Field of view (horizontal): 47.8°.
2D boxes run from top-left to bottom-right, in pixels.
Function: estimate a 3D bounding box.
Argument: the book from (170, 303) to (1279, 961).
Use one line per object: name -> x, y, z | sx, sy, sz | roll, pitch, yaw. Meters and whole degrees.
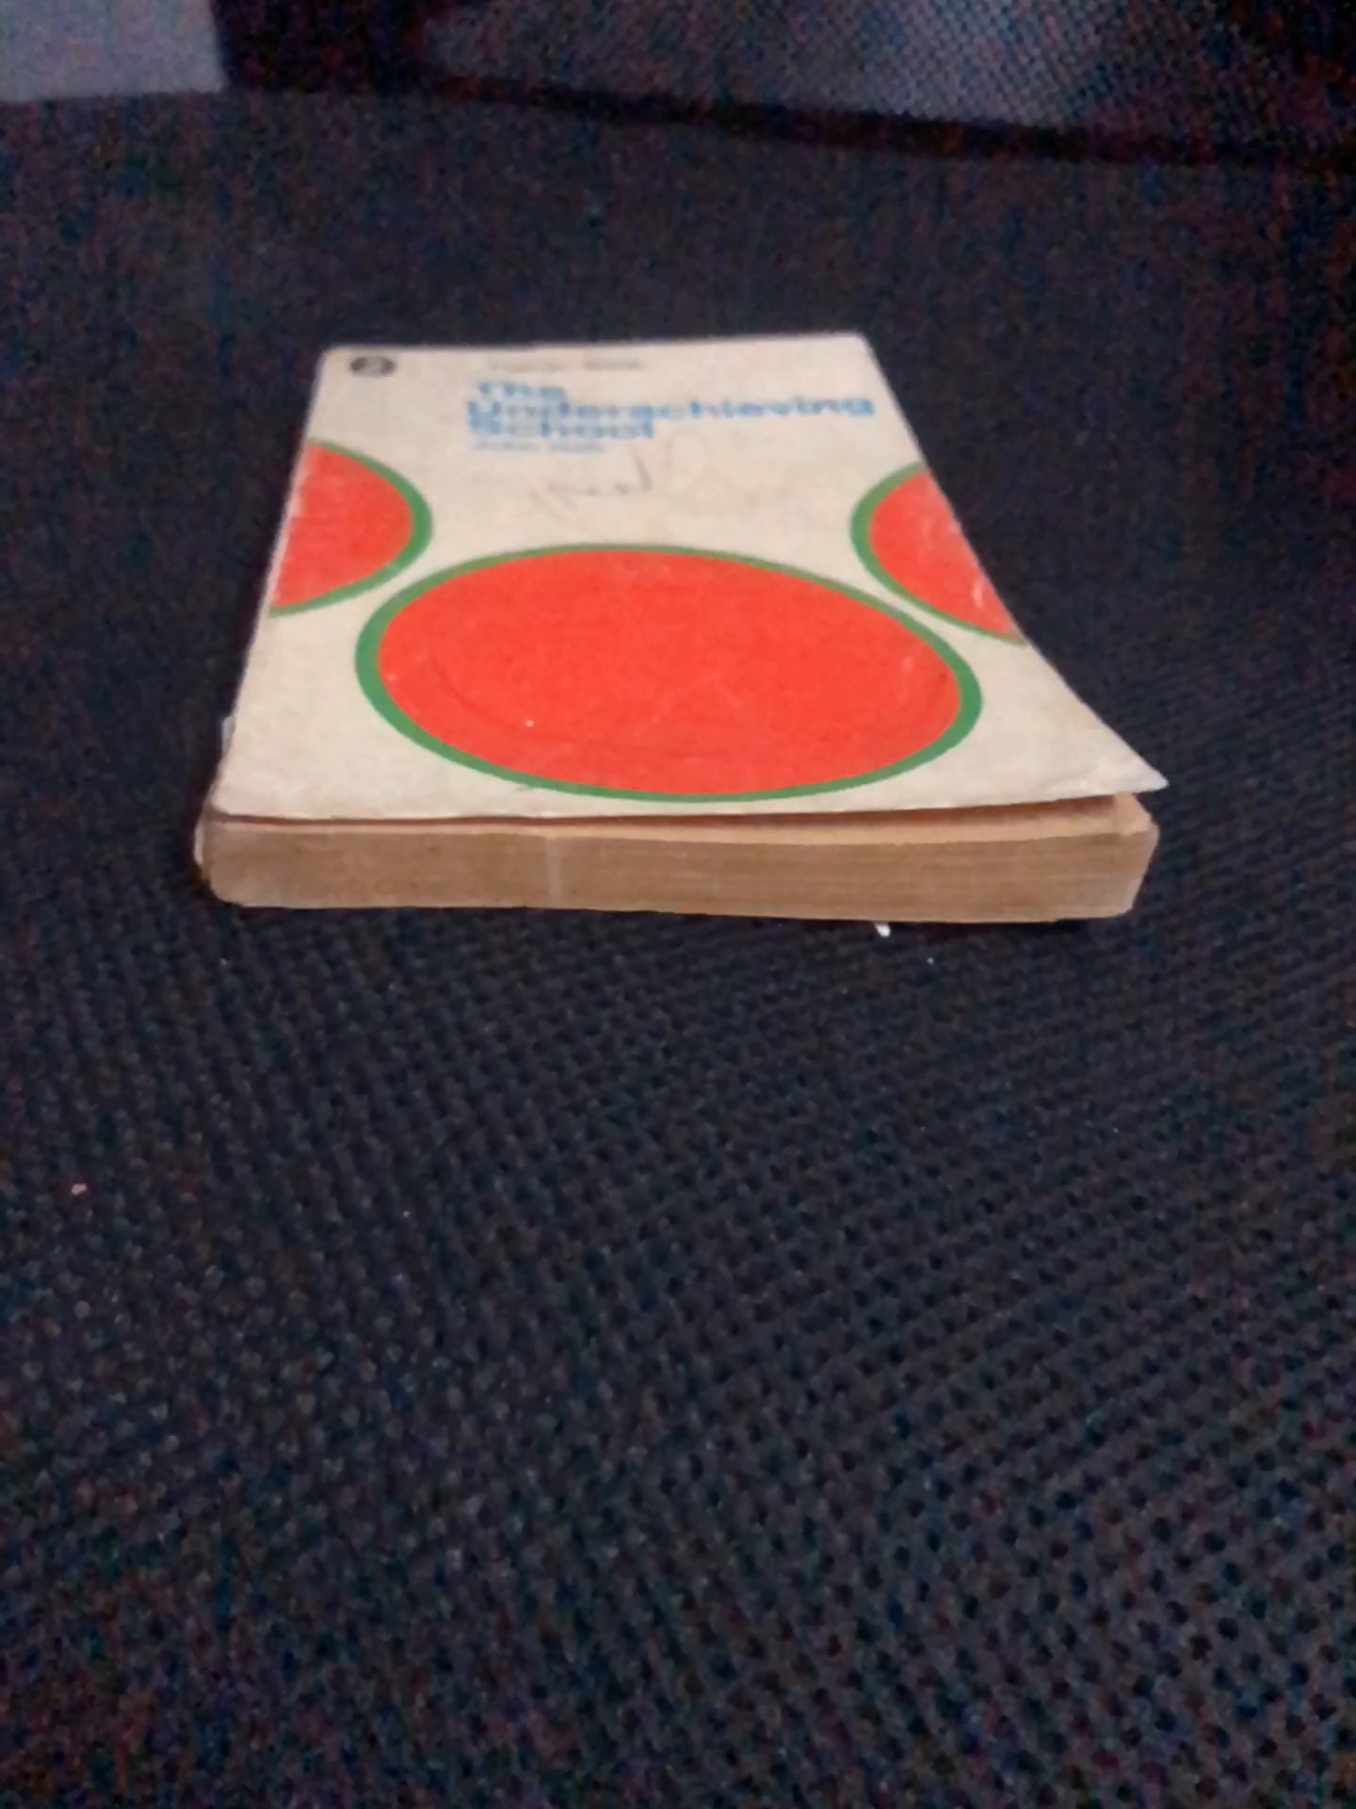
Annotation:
book -> -0.003, -0.058, 0.242 | 0.120, 0.020, 0.182 | -1, 37, -7
